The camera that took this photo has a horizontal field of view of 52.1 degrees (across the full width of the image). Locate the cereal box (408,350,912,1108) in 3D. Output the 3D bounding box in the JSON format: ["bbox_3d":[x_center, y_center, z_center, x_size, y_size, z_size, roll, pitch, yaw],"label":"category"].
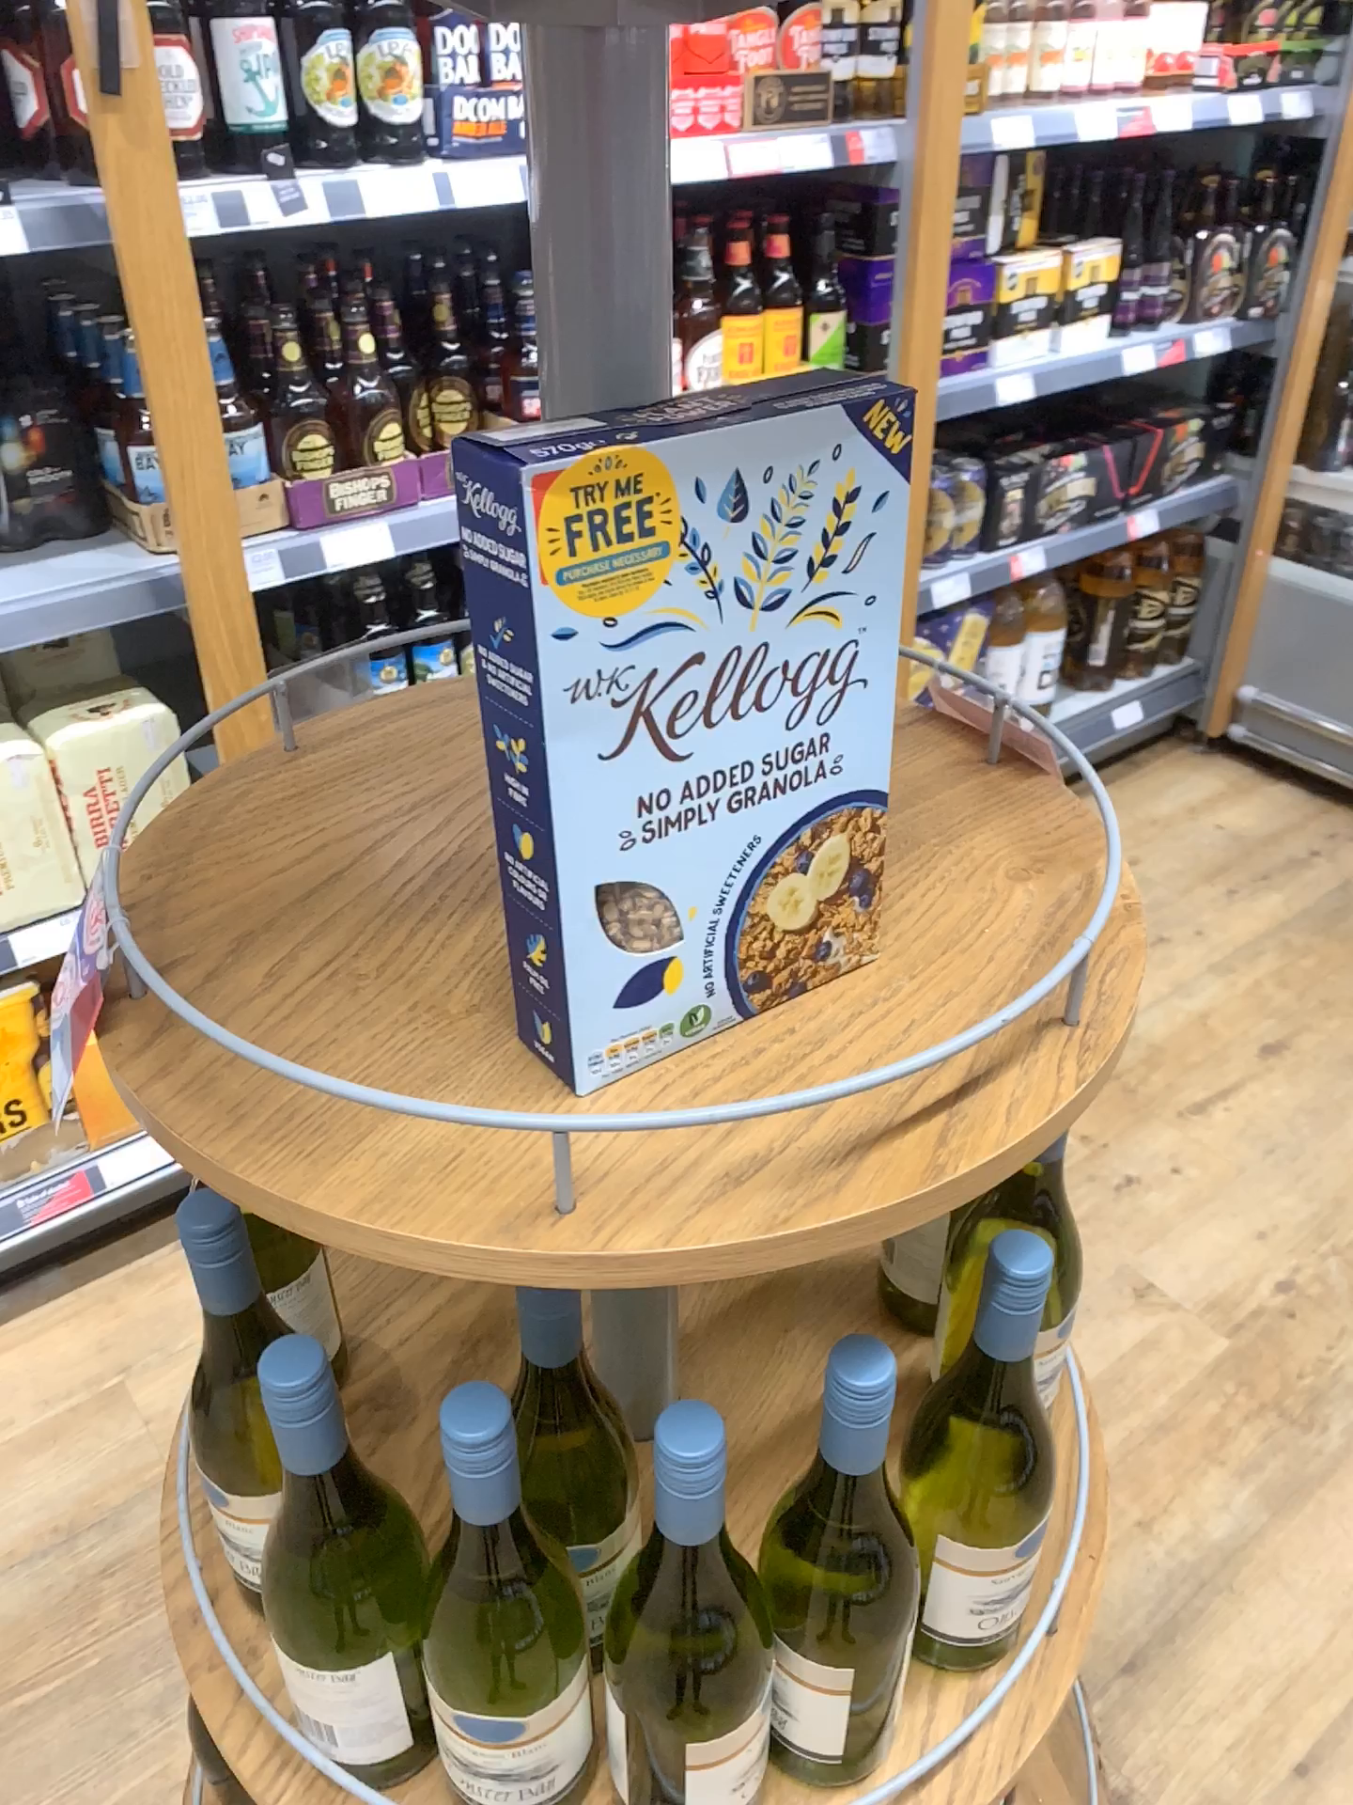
[{"bbox_3d":[0.001,-0.064,0.528,0.171,0.248,0.050,-21,37,-29],"label":"cereal box"}]
